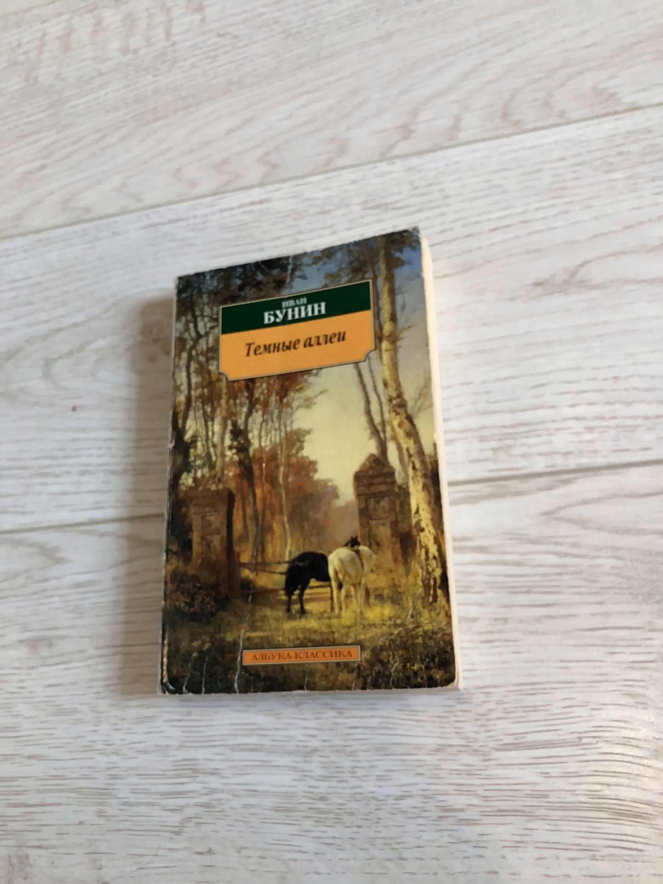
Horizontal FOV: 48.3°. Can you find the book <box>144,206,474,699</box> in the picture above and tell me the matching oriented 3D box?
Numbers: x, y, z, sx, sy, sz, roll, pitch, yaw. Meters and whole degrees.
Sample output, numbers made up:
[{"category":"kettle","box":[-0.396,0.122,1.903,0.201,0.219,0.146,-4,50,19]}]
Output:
[{"category":"book","box":[-0.012,0.003,0.283,0.112,0.024,0.177,-7,71,15]}]
